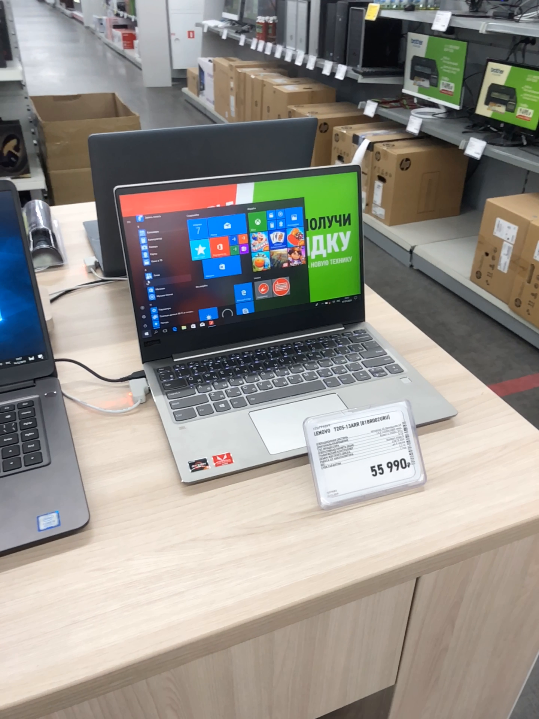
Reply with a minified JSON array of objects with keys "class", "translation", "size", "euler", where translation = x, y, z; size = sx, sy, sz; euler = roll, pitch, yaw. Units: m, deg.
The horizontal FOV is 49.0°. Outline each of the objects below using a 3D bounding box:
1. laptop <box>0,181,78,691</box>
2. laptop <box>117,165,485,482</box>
[{"class":"laptop","translation":[-0.383,0.007,0.513],"size":[0.344,0.188,0.341],"euler":[-13,36,-20]},{"class":"laptop","translation":[0.012,-0.064,0.634],"size":[0.285,0.187,0.263],"euler":[-11,36,-18]}]
